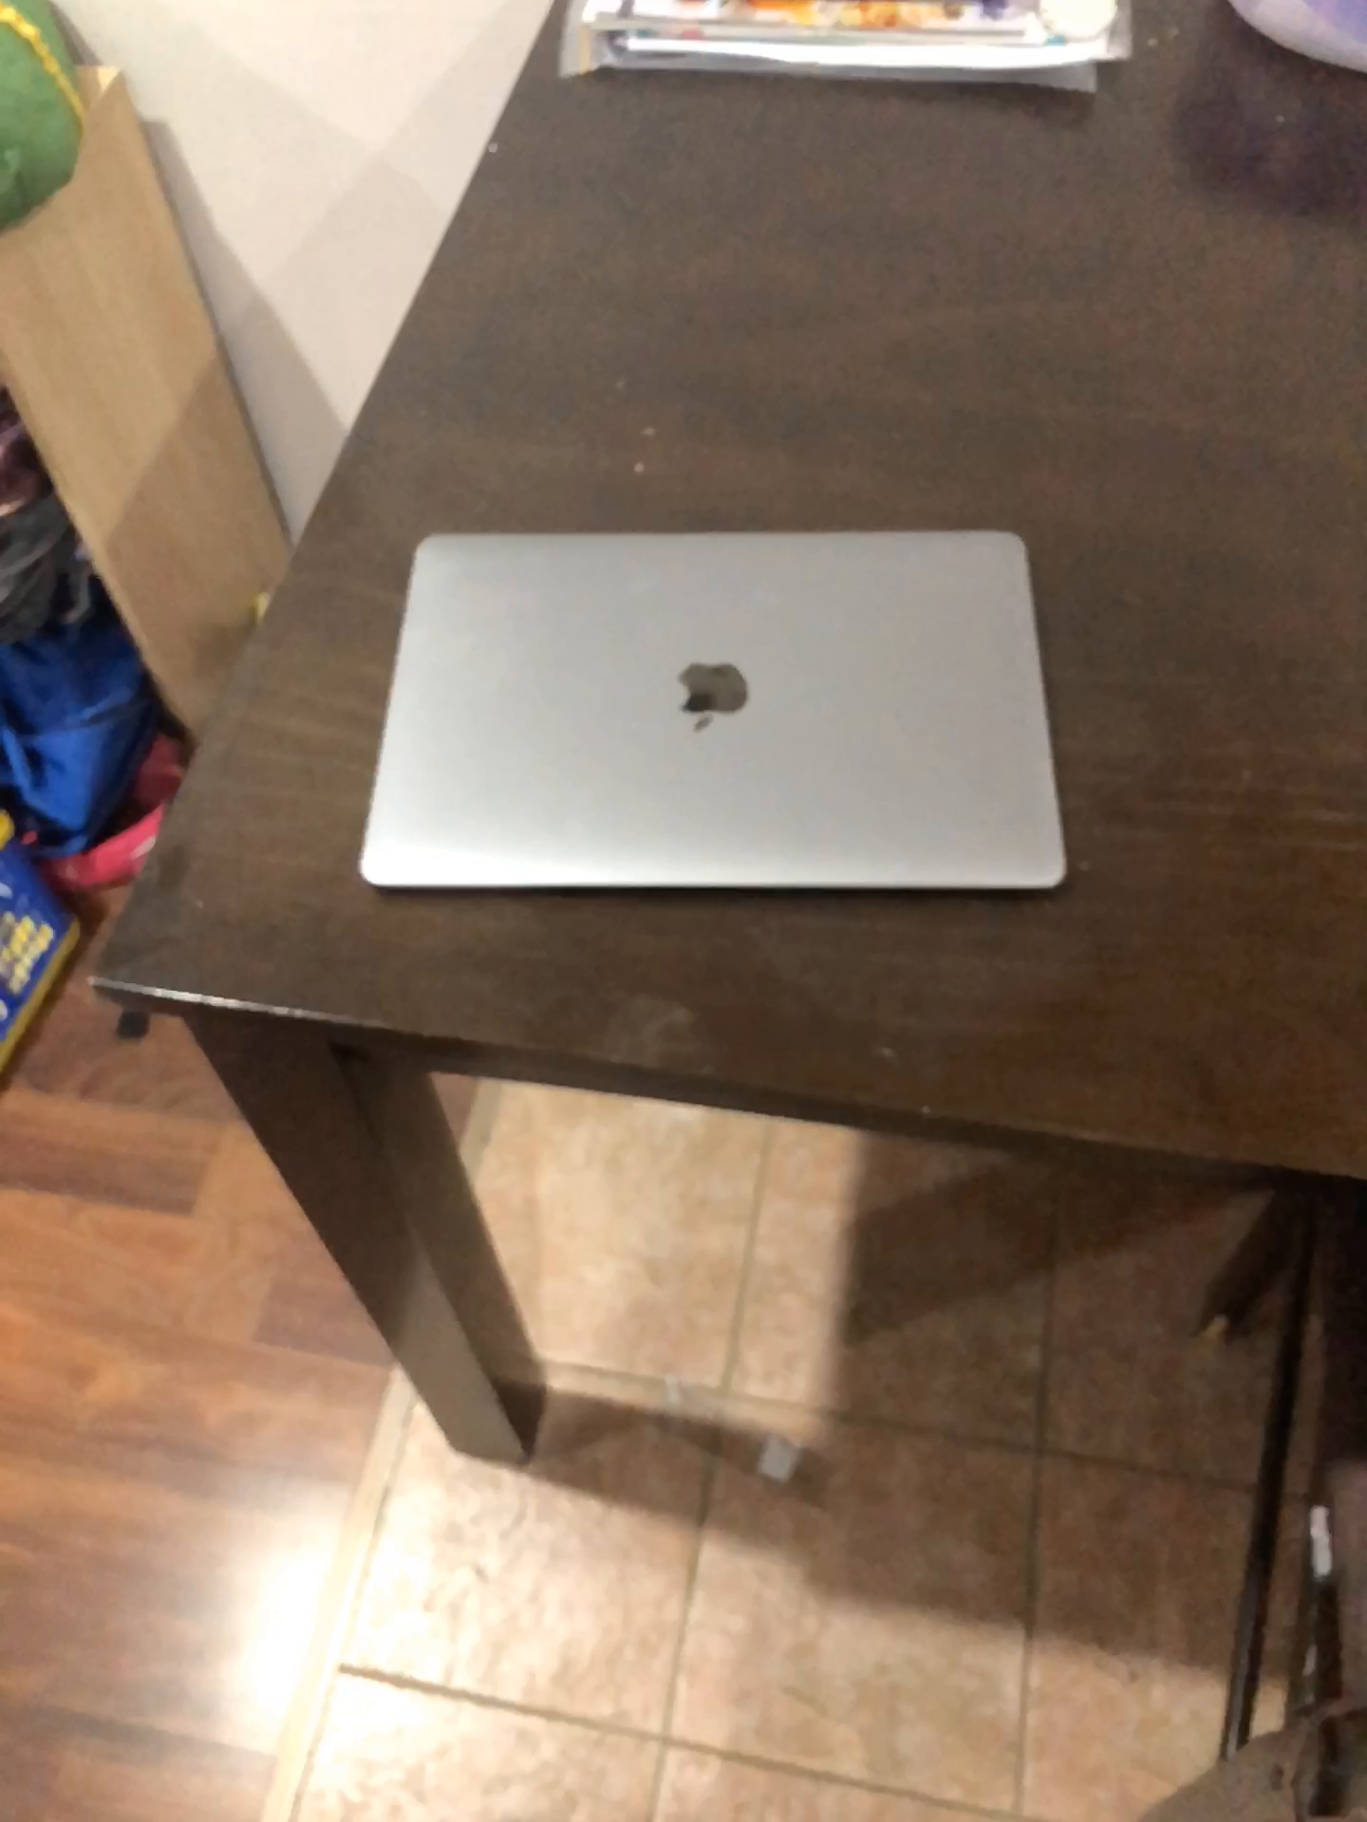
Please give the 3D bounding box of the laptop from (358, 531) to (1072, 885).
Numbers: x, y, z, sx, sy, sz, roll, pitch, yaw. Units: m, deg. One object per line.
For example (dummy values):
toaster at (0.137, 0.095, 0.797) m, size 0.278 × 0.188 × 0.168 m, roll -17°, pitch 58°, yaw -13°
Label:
laptop at (0.015, -0.092, 0.643) m, size 0.275 × 0.002 × 0.196 m, roll 0°, pitch 56°, yaw 0°
